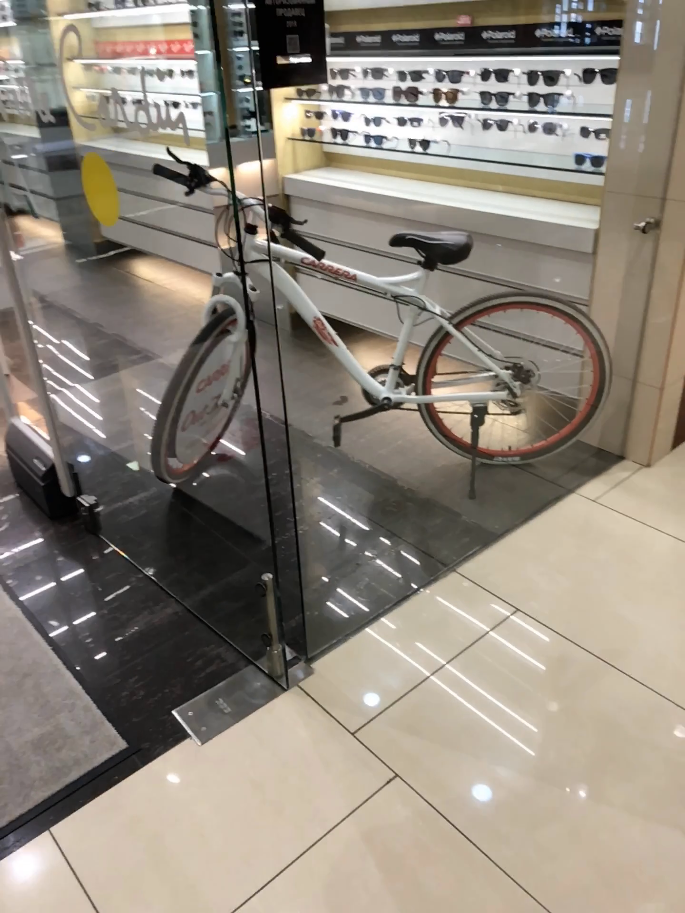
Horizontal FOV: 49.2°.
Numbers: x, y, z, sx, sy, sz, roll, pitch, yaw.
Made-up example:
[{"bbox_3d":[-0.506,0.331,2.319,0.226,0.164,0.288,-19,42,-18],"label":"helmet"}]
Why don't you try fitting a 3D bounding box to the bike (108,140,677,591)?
[{"bbox_3d":[0.130,-0.302,2.254,1.381,0.947,0.595,-9,29,-5],"label":"bike"}]
